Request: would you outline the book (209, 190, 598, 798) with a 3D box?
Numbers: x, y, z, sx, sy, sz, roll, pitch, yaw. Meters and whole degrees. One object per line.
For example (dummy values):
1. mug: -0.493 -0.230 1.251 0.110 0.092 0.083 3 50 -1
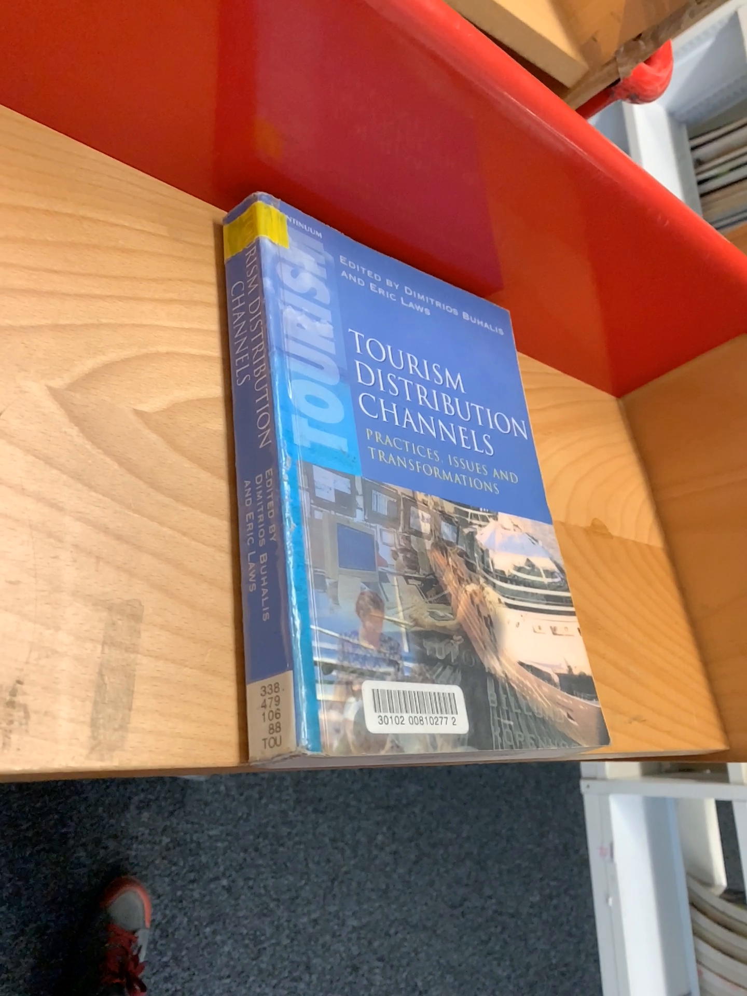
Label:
1. book: 0.011 -0.001 0.339 0.168 0.030 0.239 15 58 -39
